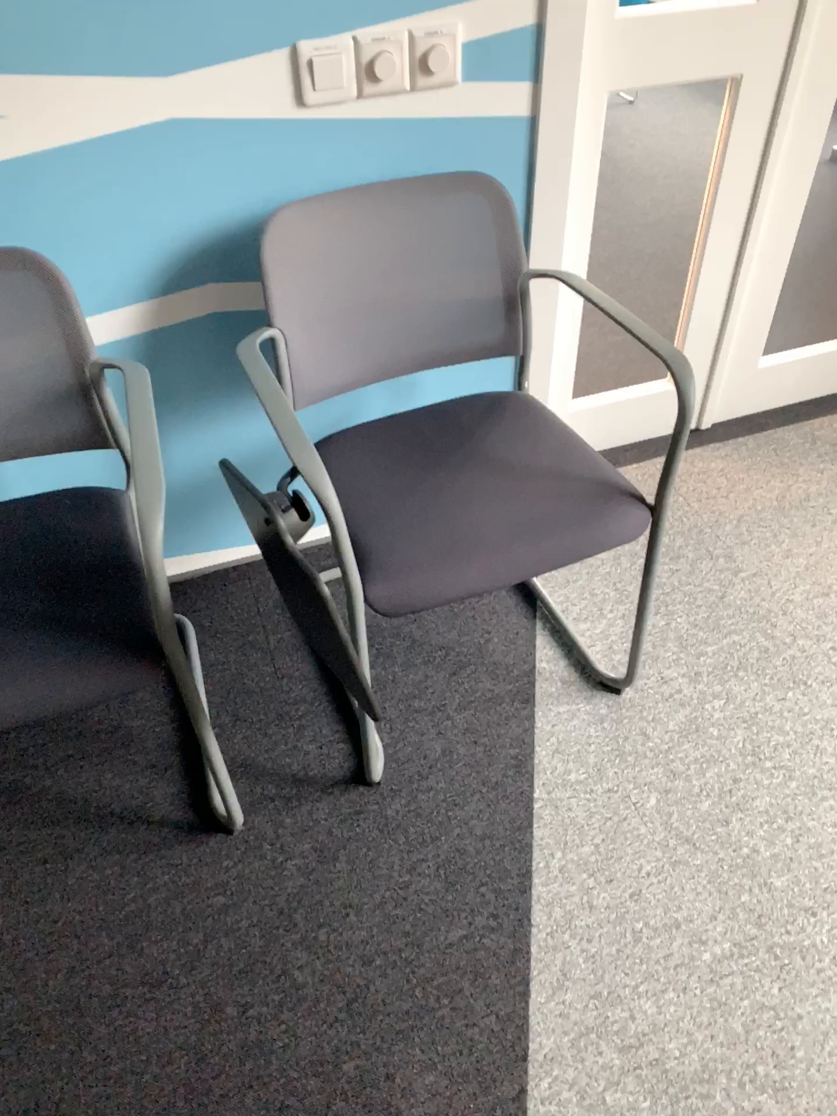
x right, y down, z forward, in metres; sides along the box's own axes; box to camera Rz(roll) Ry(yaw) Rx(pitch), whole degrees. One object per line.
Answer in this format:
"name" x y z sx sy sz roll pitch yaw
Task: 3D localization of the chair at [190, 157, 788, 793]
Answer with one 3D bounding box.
"chair" 0.050 -0.158 1.338 0.571 0.627 0.643 -16 46 -15
